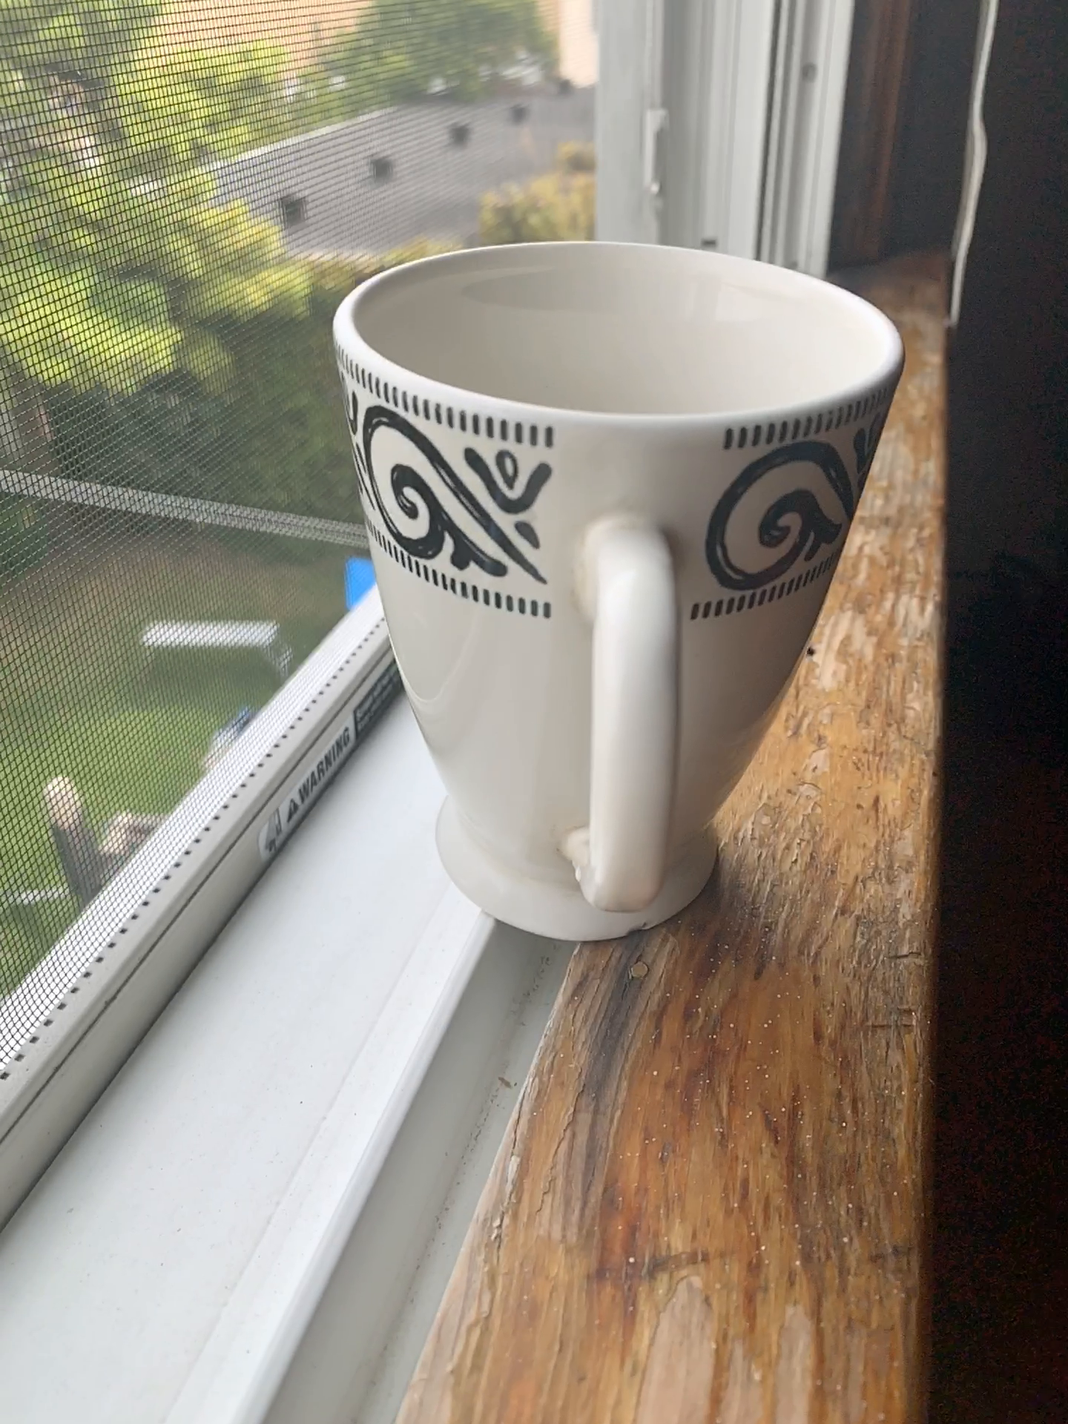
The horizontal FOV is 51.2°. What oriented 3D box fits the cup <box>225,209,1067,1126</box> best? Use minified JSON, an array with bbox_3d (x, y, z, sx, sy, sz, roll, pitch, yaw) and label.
[{"bbox_3d":[0.011,-0.019,0.180,0.080,0.089,0.131,1,34,-1],"label":"cup"}]
